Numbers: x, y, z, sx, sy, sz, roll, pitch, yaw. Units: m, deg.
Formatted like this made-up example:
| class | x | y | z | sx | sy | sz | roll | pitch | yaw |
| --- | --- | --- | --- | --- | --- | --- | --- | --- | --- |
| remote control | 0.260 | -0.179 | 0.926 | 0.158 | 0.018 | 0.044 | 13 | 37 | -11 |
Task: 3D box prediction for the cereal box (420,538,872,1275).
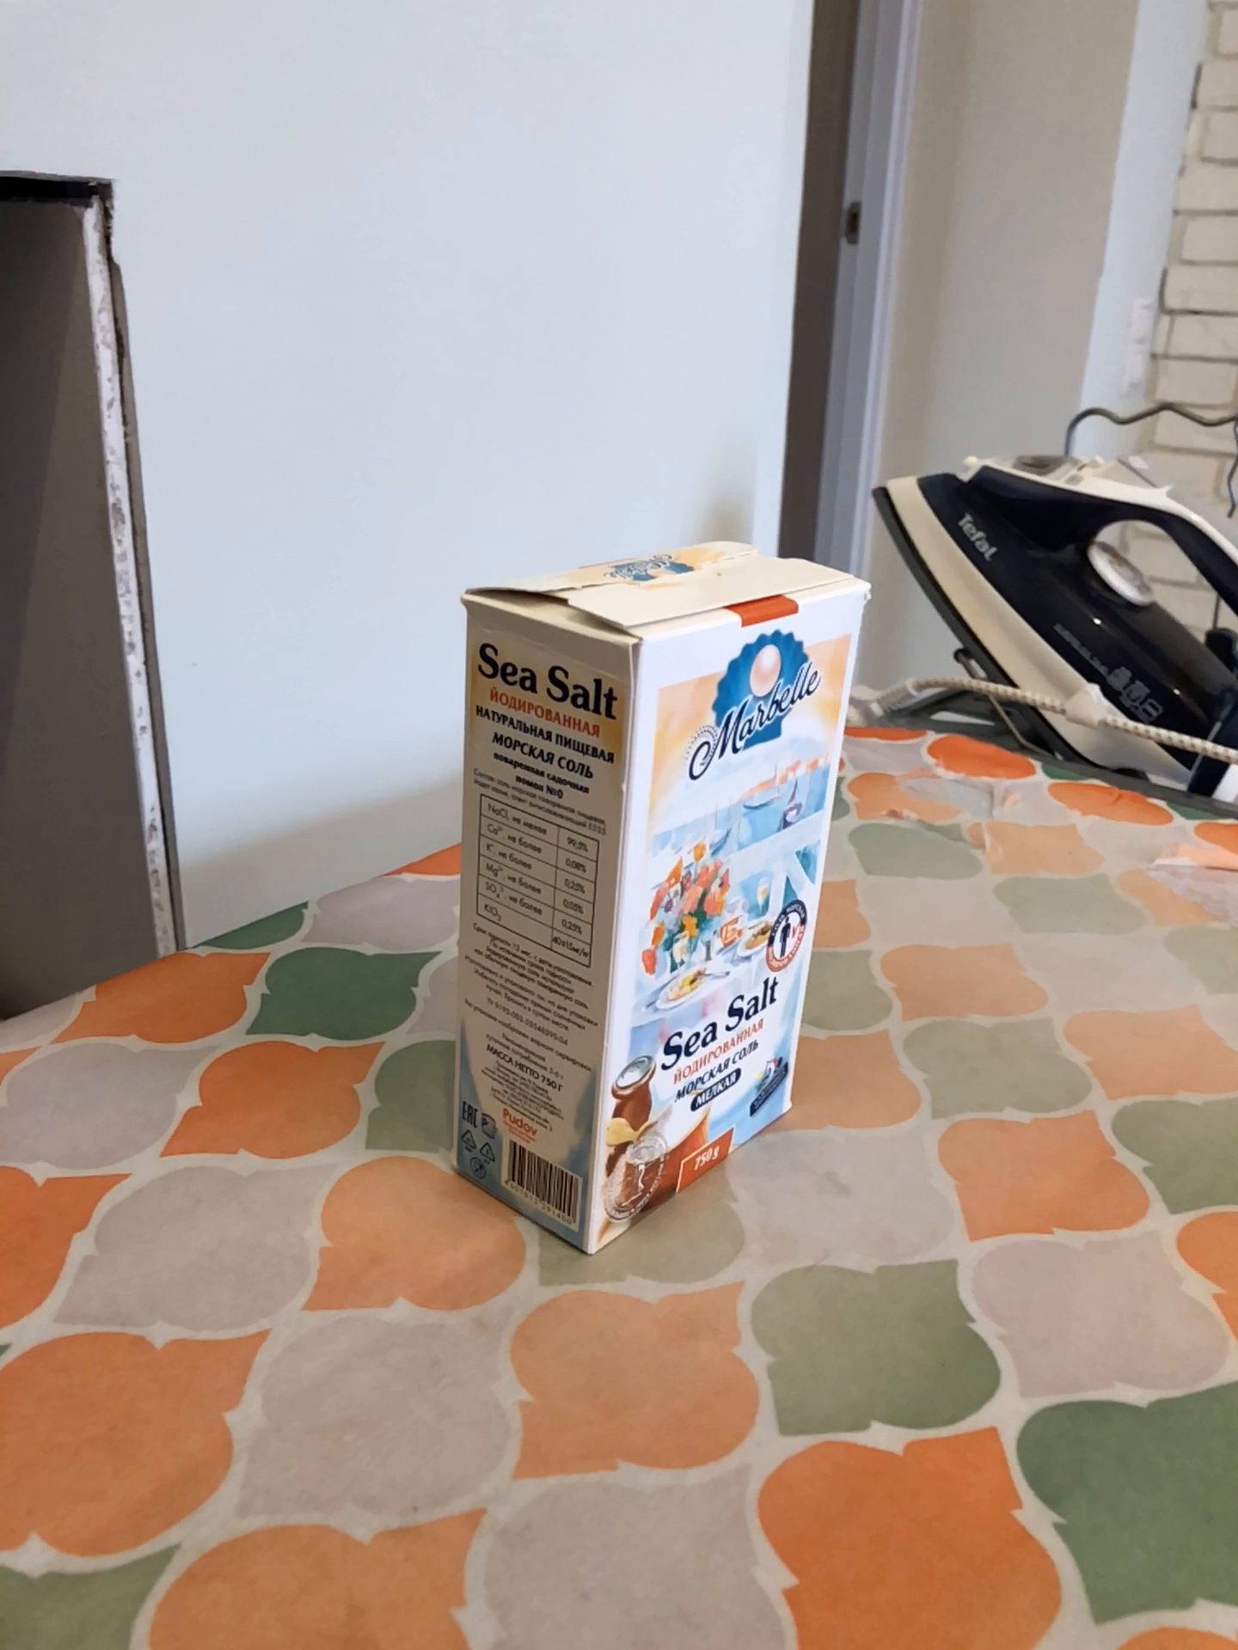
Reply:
| class | x | y | z | sx | sy | sz | roll | pitch | yaw |
| --- | --- | --- | --- | --- | --- | --- | --- | --- | --- |
| cereal box | 0.005 | 0.016 | 0.373 | 0.060 | 0.169 | 0.100 | 21 | 27 | 35 |
